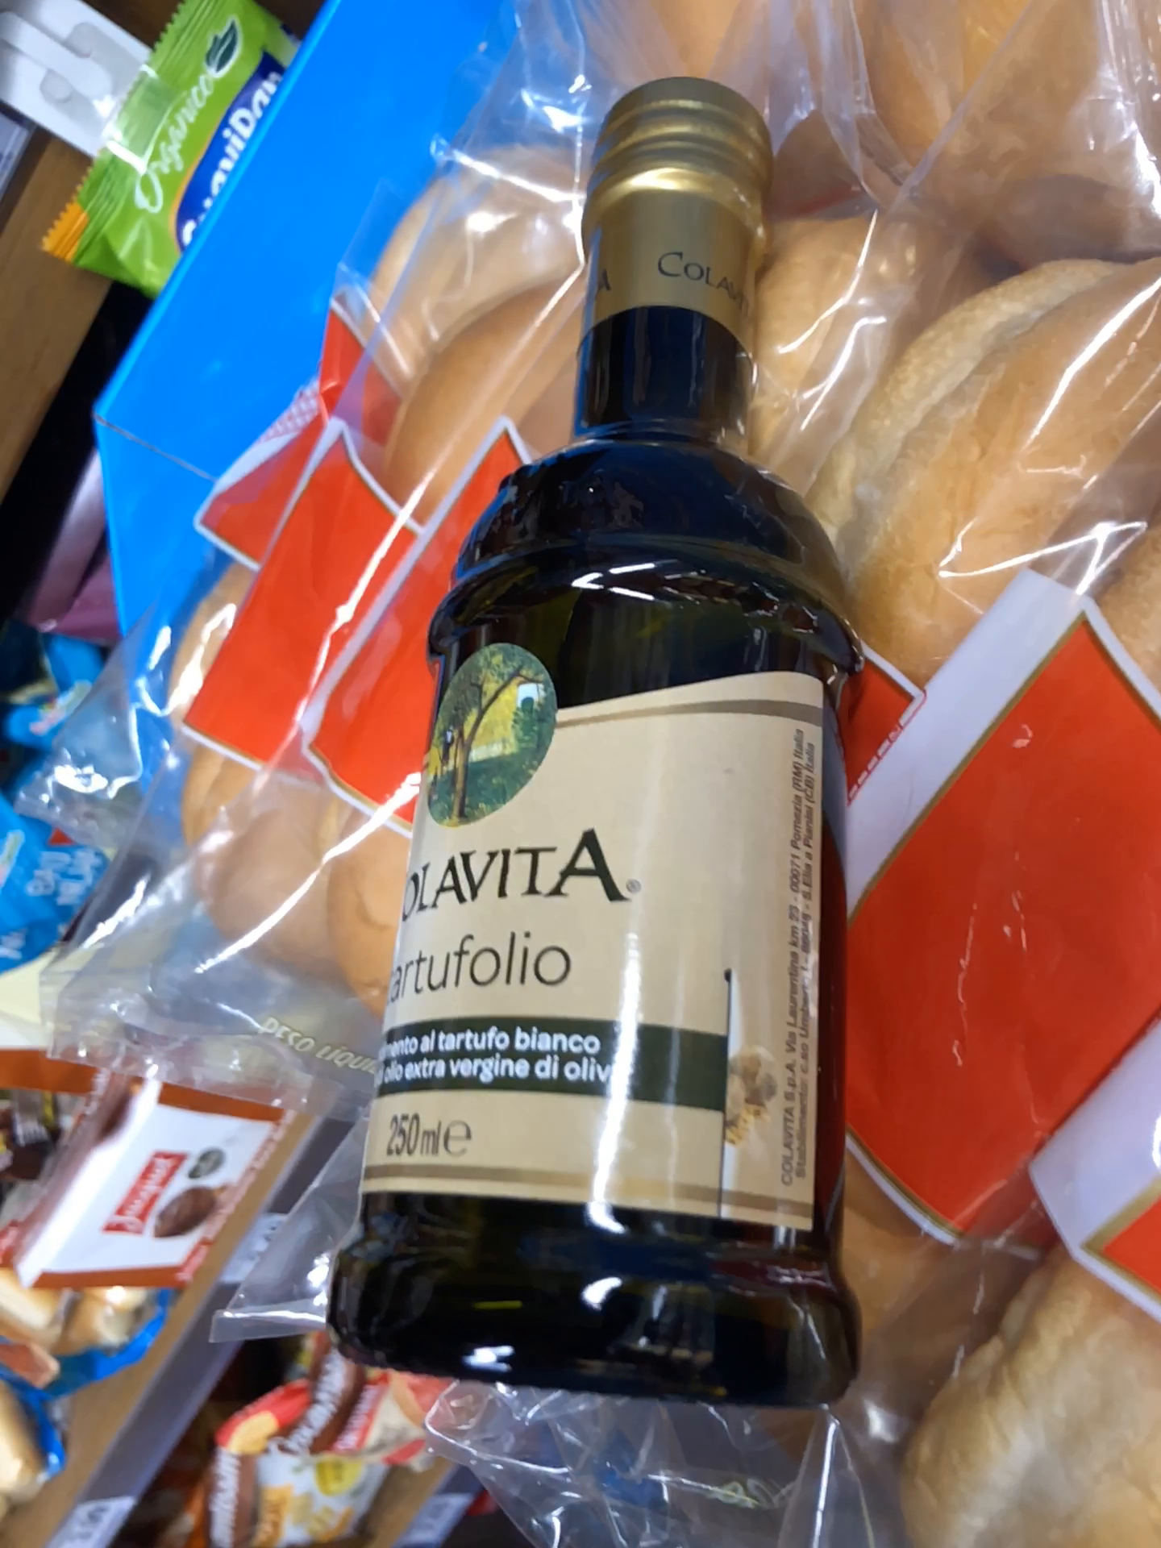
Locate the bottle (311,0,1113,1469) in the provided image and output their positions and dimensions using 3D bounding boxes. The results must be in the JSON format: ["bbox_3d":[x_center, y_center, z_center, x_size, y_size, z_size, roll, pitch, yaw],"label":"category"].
[{"bbox_3d":[0.017,-0.026,0.186,0.070,0.060,0.210,-18,63,42],"label":"bottle"}]
